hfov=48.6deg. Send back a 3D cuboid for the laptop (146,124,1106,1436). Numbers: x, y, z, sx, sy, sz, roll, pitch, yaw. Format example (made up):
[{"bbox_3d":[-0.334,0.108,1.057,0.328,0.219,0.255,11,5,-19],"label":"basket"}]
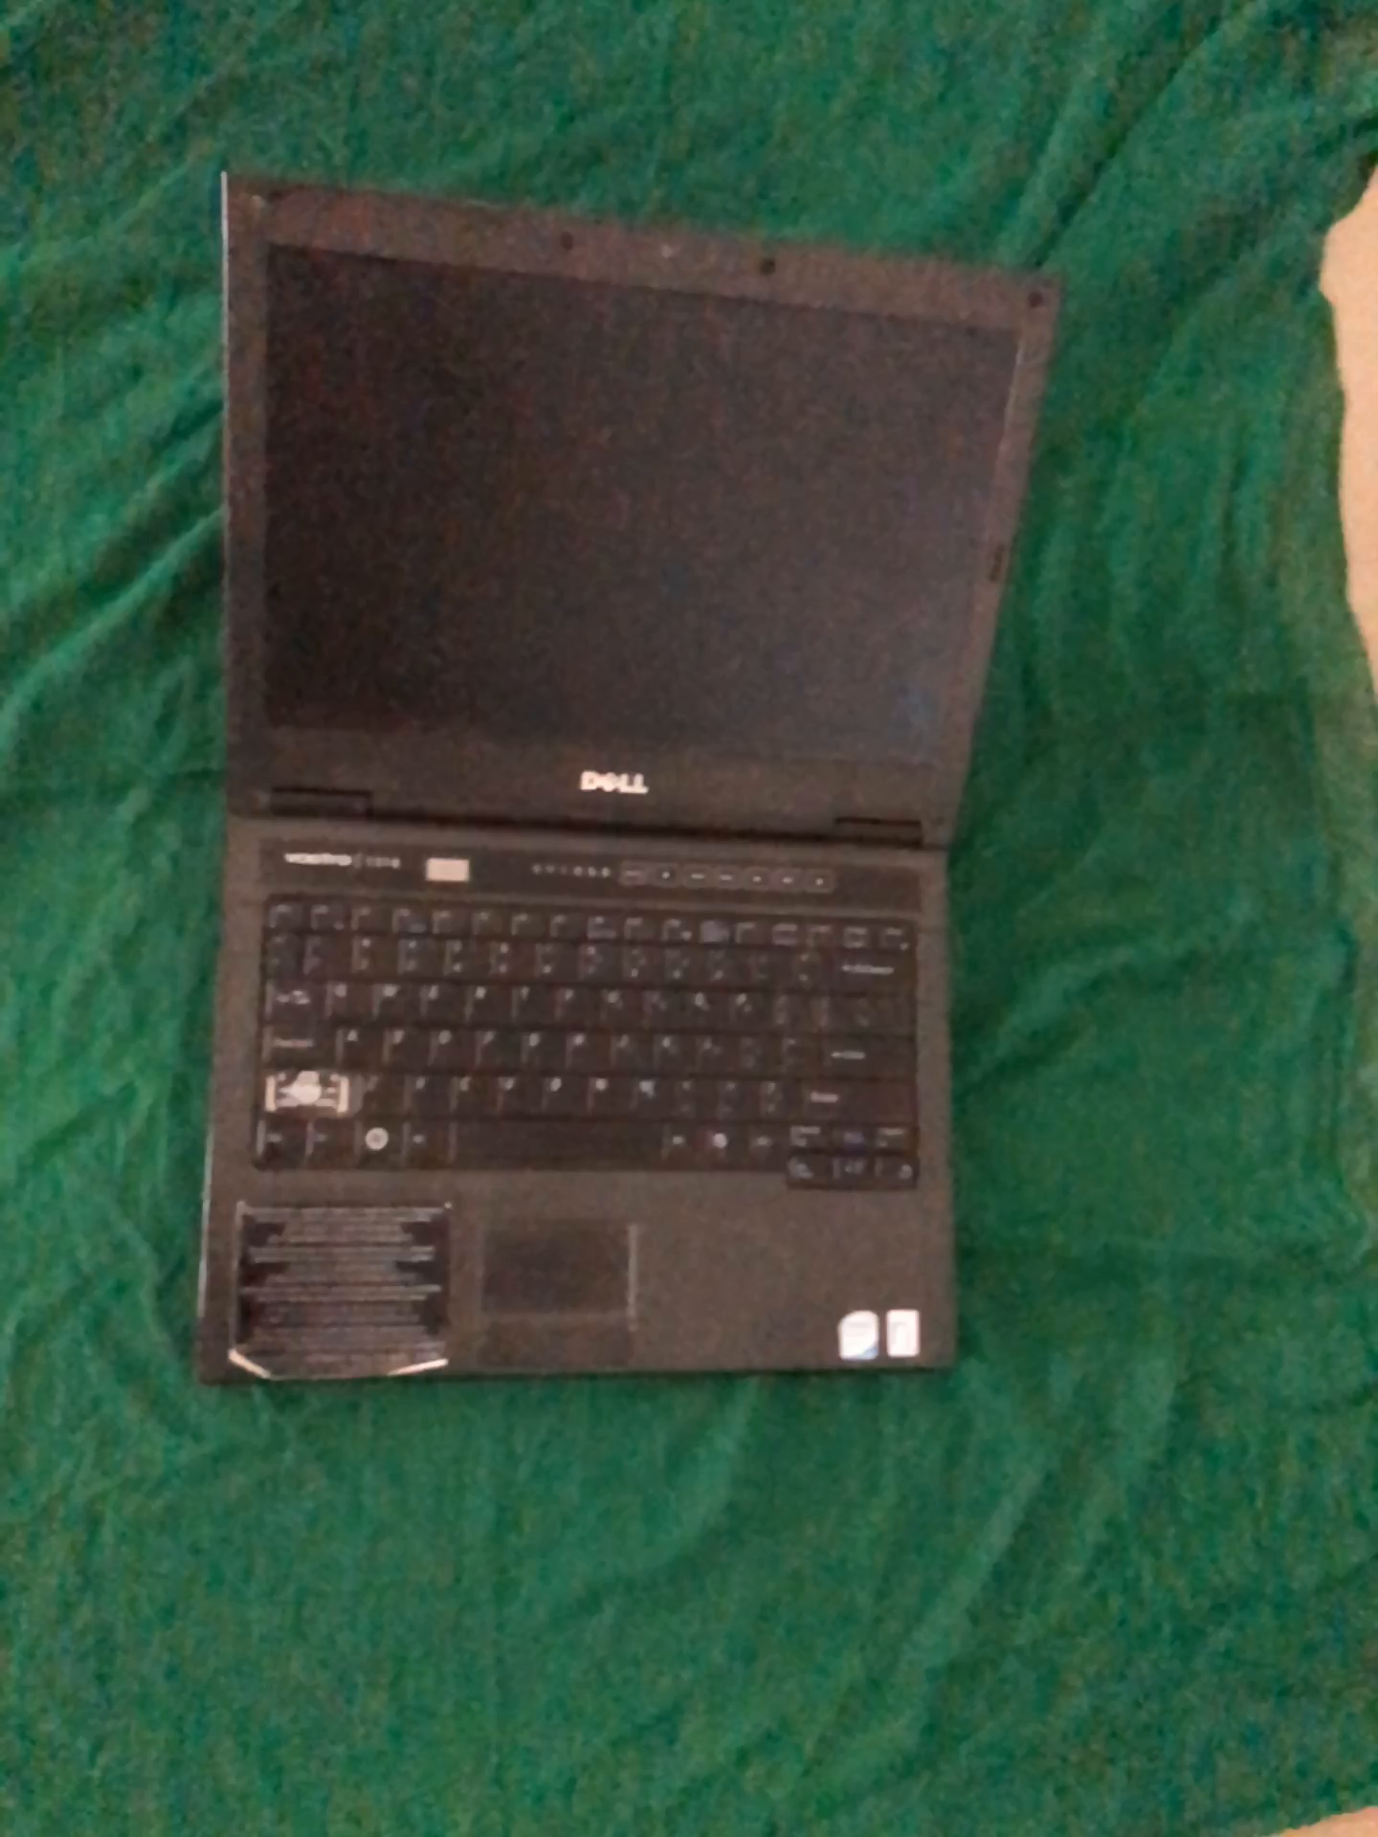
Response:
[{"bbox_3d":[-0.022,-0.038,0.591,0.313,0.127,0.438,3,86,-10],"label":"laptop"}]
